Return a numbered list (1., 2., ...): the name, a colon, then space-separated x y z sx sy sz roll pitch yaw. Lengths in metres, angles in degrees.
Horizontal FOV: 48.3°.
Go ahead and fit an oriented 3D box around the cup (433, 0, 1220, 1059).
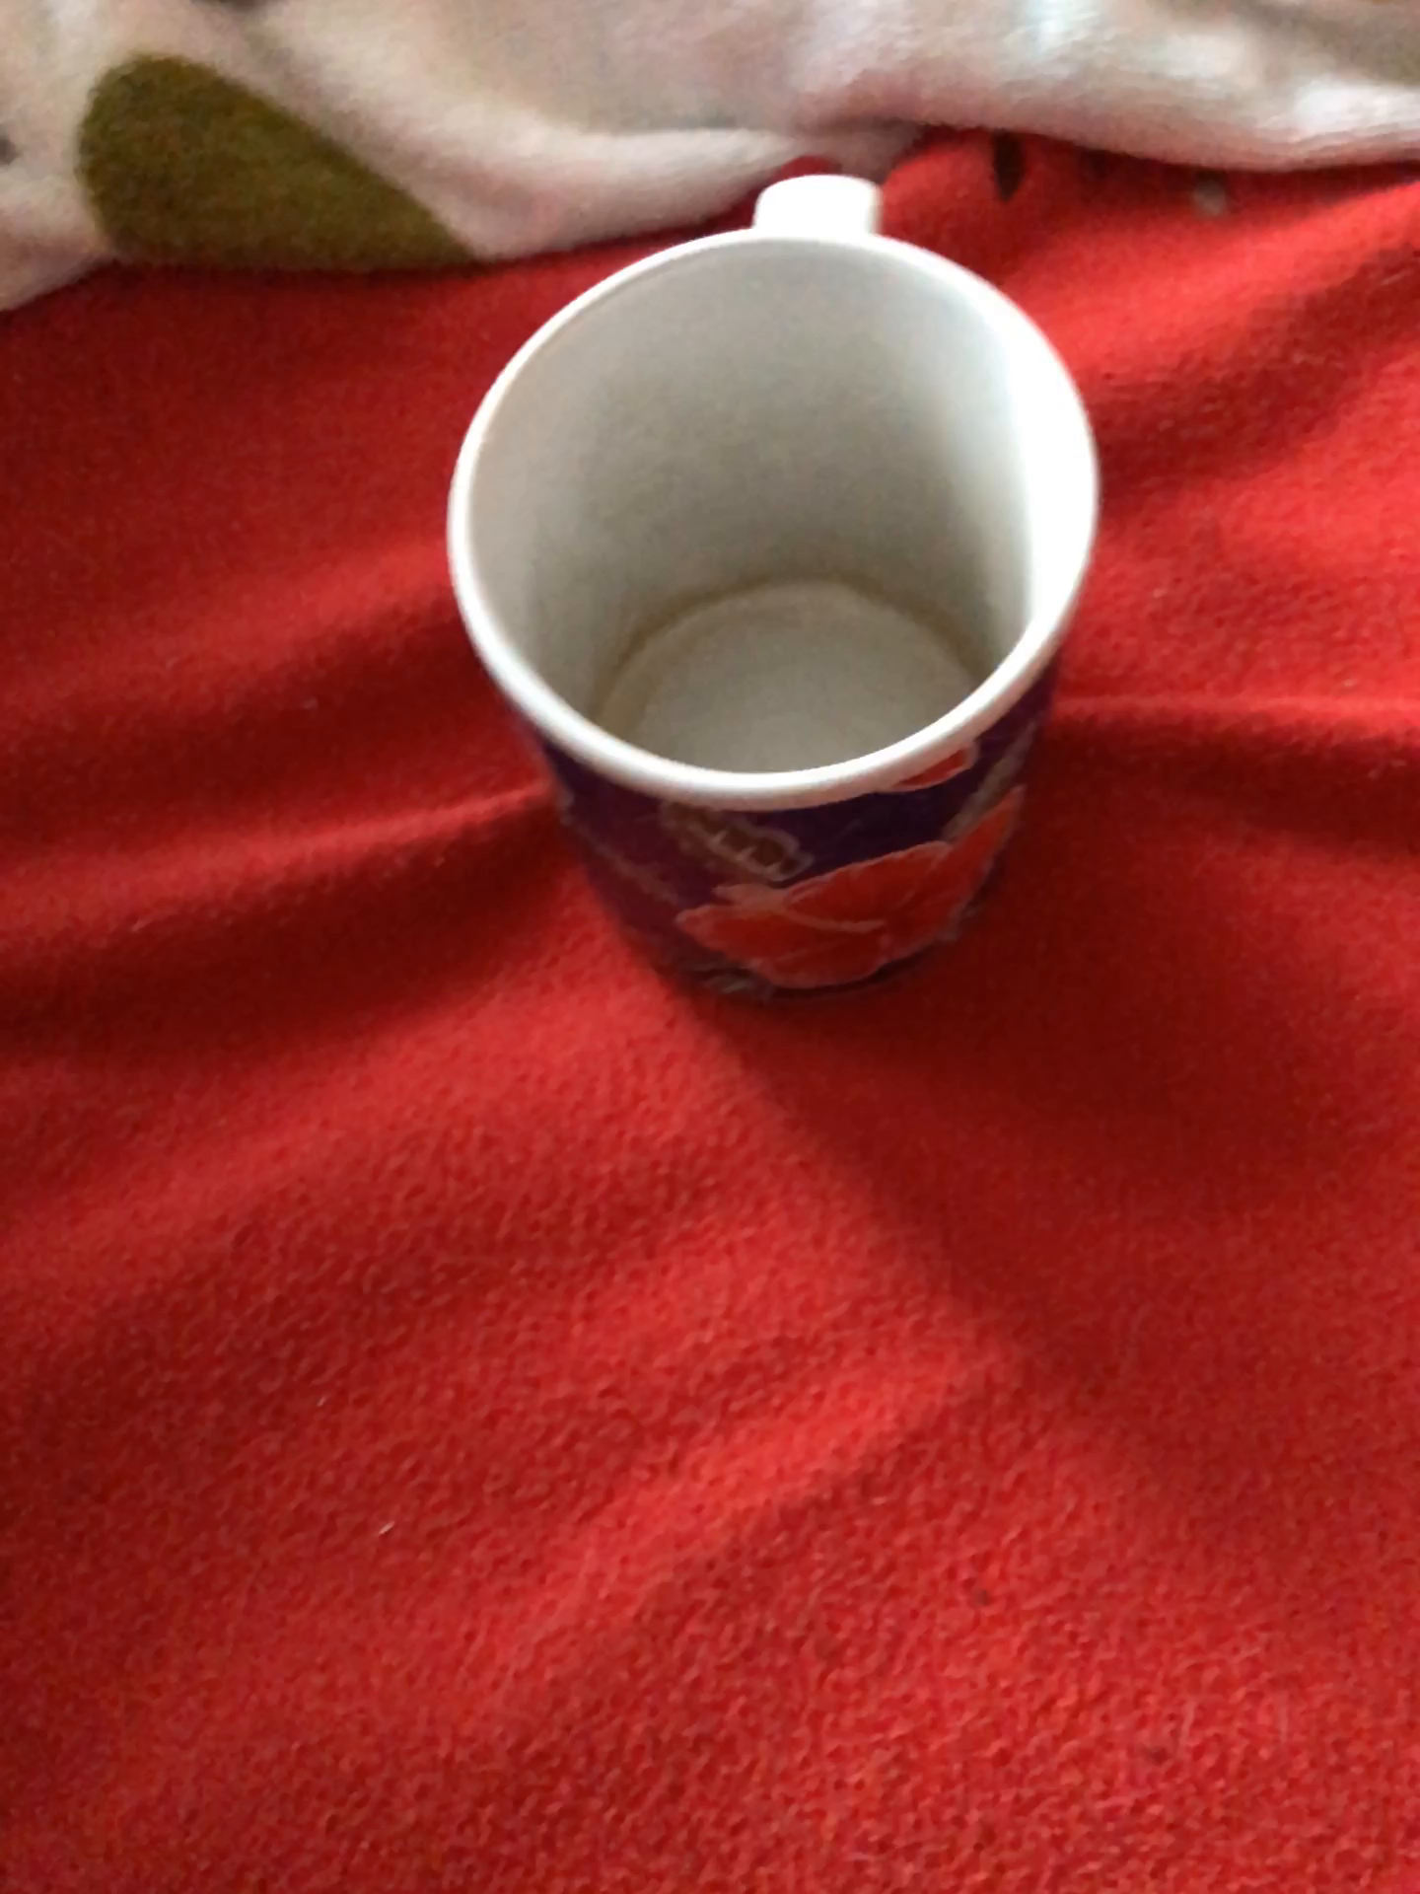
1. cup: 0.016 -0.058 0.249 0.090 0.100 0.120 -5 69 5
